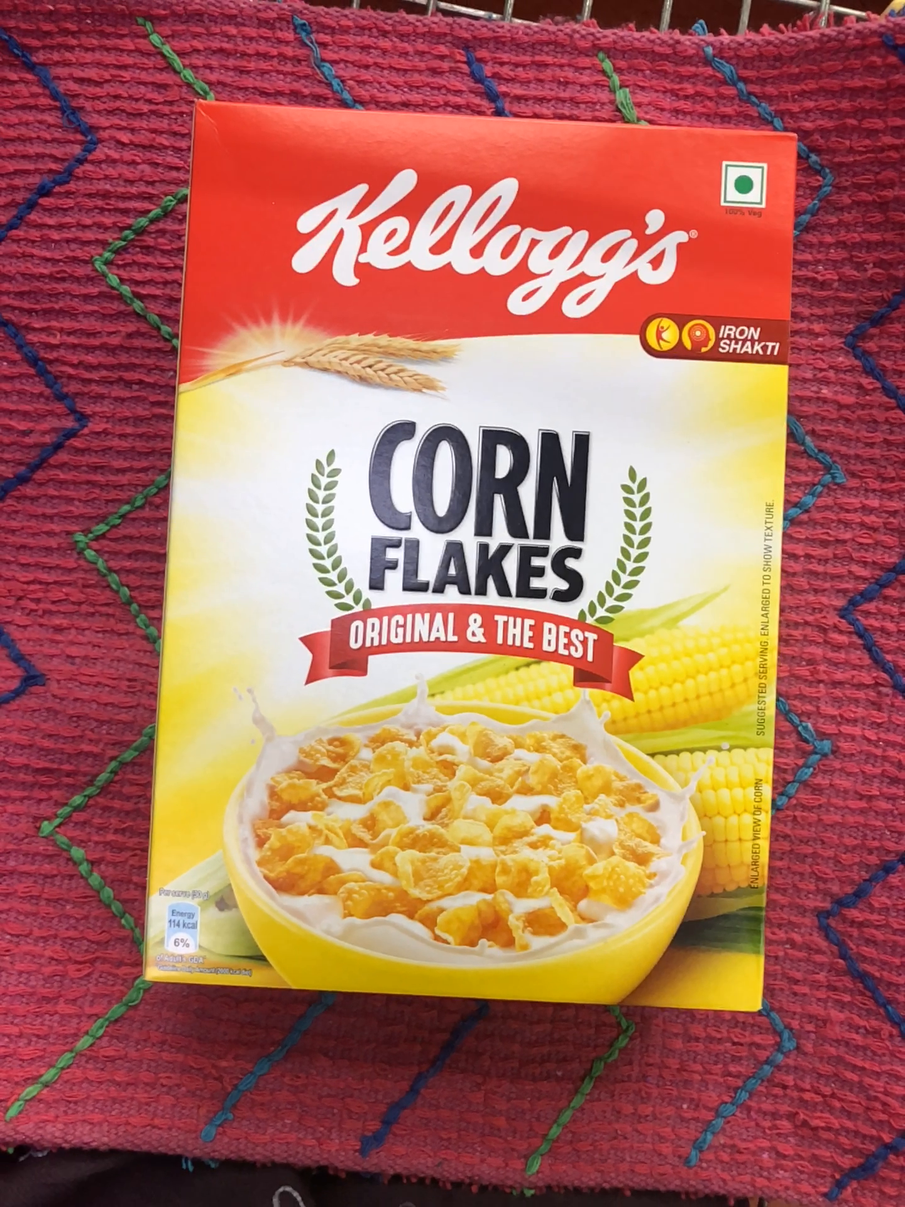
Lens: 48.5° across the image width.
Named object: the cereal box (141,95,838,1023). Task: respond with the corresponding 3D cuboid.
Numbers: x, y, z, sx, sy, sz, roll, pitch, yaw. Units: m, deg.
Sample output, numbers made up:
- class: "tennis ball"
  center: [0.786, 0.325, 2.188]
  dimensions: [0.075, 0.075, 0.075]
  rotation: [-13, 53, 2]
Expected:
- class: "cereal box"
  center: [0.011, -0.014, 0.325]
  dimensions: [0.190, 0.070, 0.260]
  rotation: [3, 89, 0]
